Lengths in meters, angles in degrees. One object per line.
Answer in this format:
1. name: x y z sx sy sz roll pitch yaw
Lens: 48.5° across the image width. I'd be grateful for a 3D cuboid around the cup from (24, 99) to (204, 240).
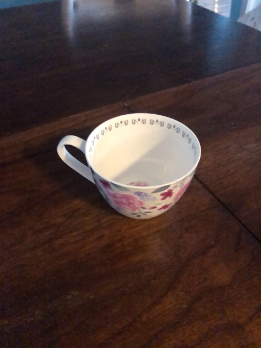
1. cup: -0.008 -0.012 0.322 0.160 0.070 0.120 9 45 9
